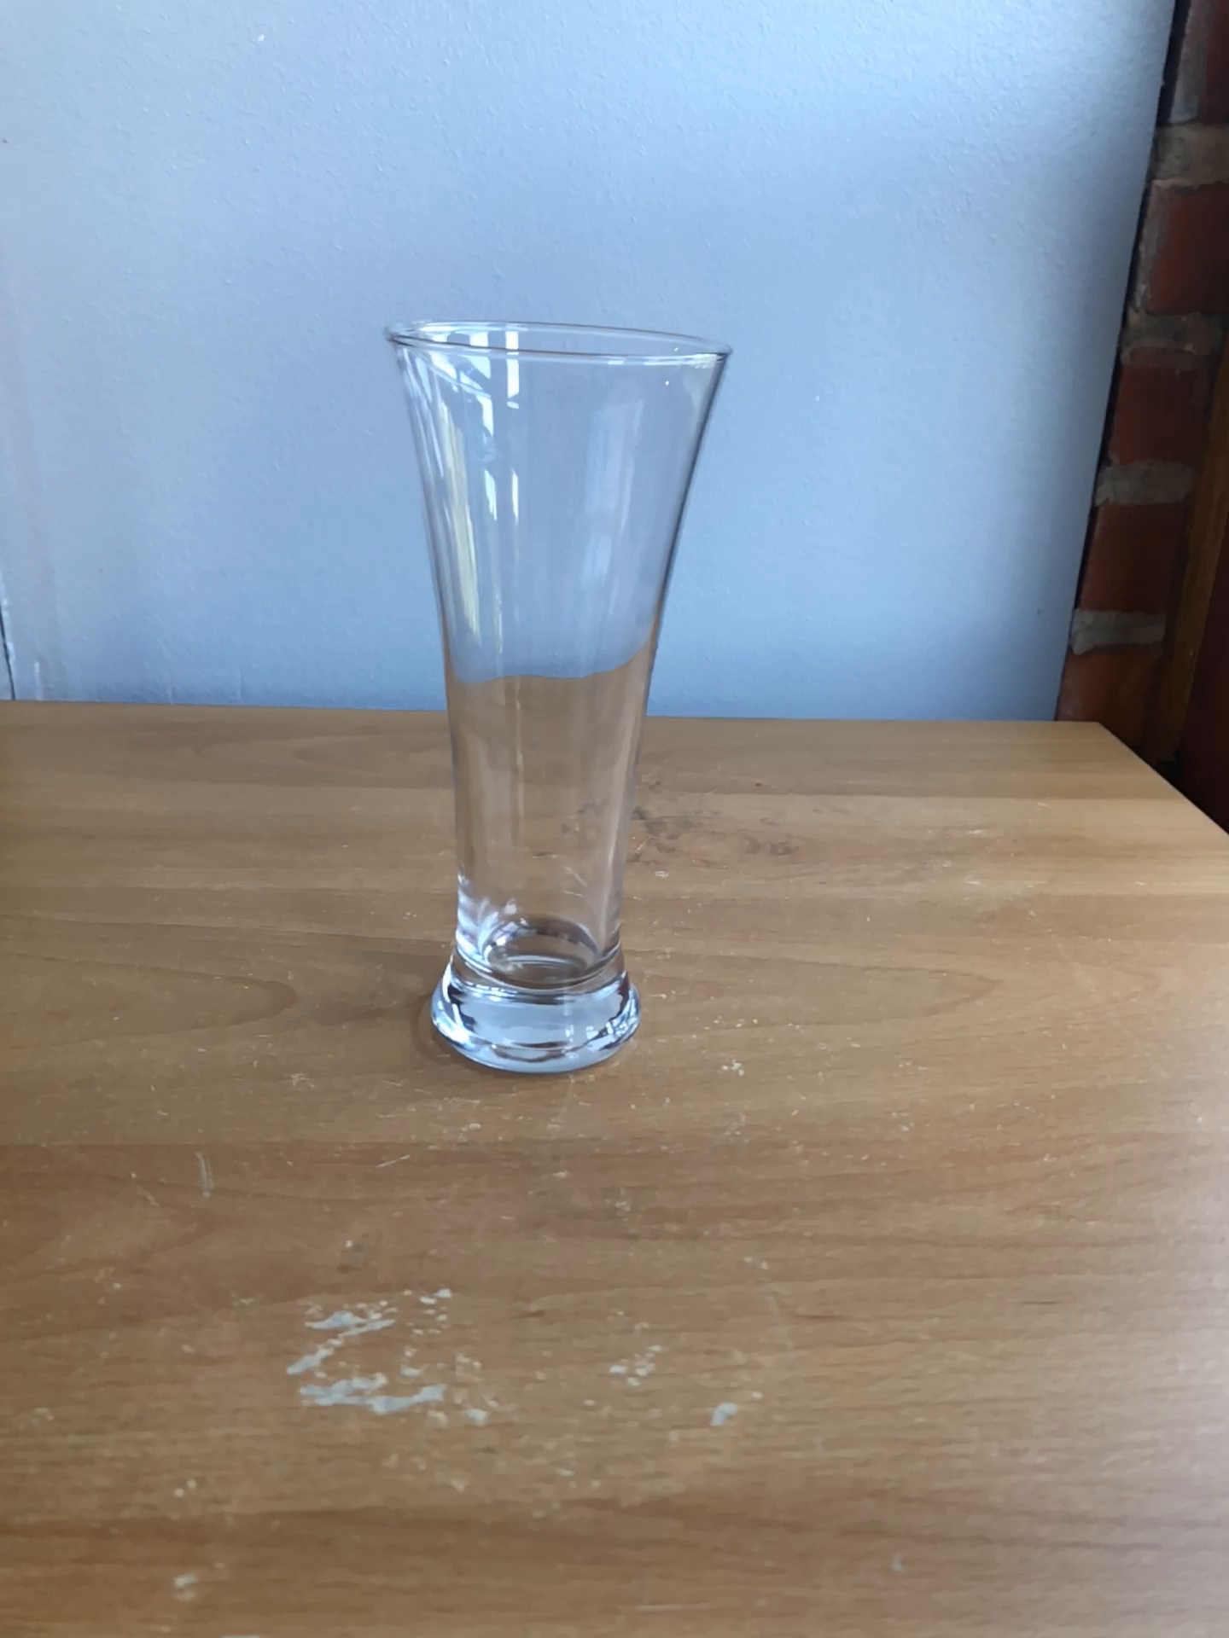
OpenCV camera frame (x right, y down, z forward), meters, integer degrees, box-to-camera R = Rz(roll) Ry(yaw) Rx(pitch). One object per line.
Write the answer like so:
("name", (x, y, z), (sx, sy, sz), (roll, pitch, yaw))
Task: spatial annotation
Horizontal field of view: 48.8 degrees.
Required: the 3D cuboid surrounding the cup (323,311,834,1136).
("cup", (-0.011, -0.028, 0.327), (0.076, 0.168, 0.083), (4, 24, -2))
